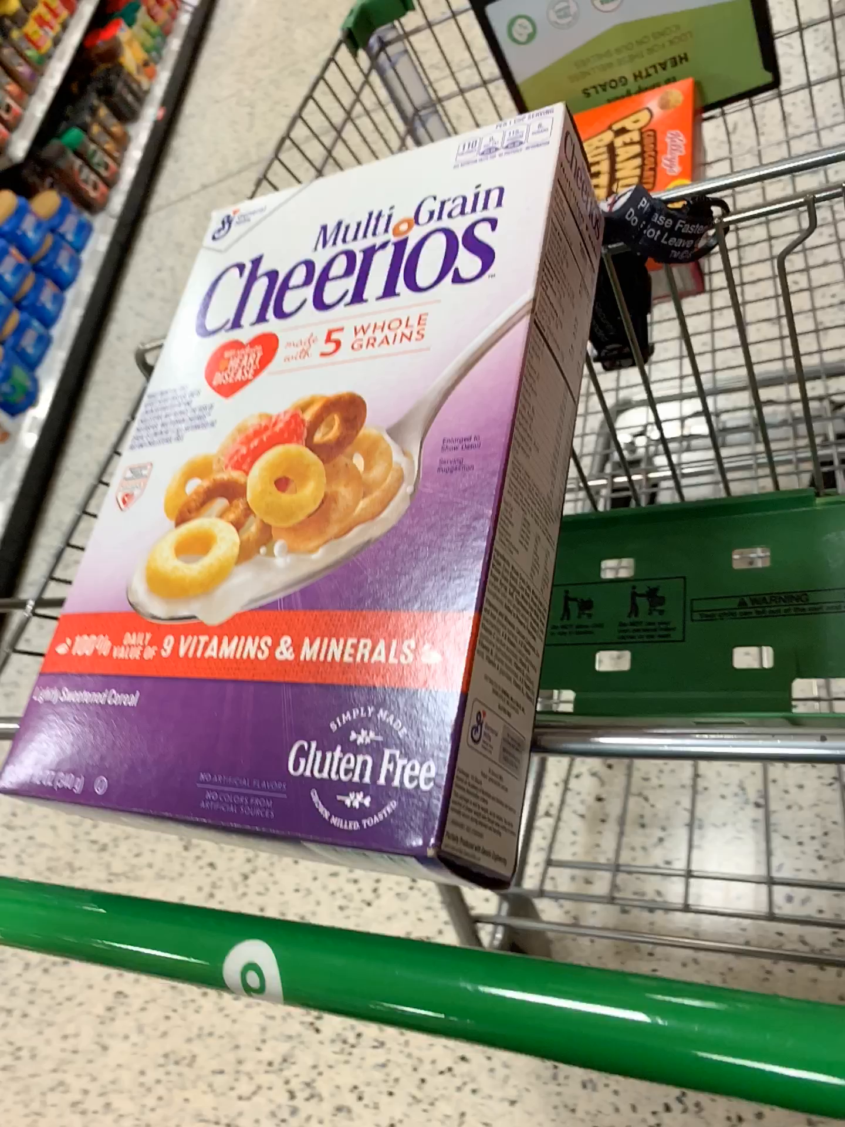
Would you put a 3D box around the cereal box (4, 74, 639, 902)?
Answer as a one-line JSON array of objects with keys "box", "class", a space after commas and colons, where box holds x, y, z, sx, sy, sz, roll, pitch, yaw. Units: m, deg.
[{"box": [-0.028, -0.043, 0.378, 0.201, 0.069, 0.322, -3, 62, 29], "class": "cereal box"}]
